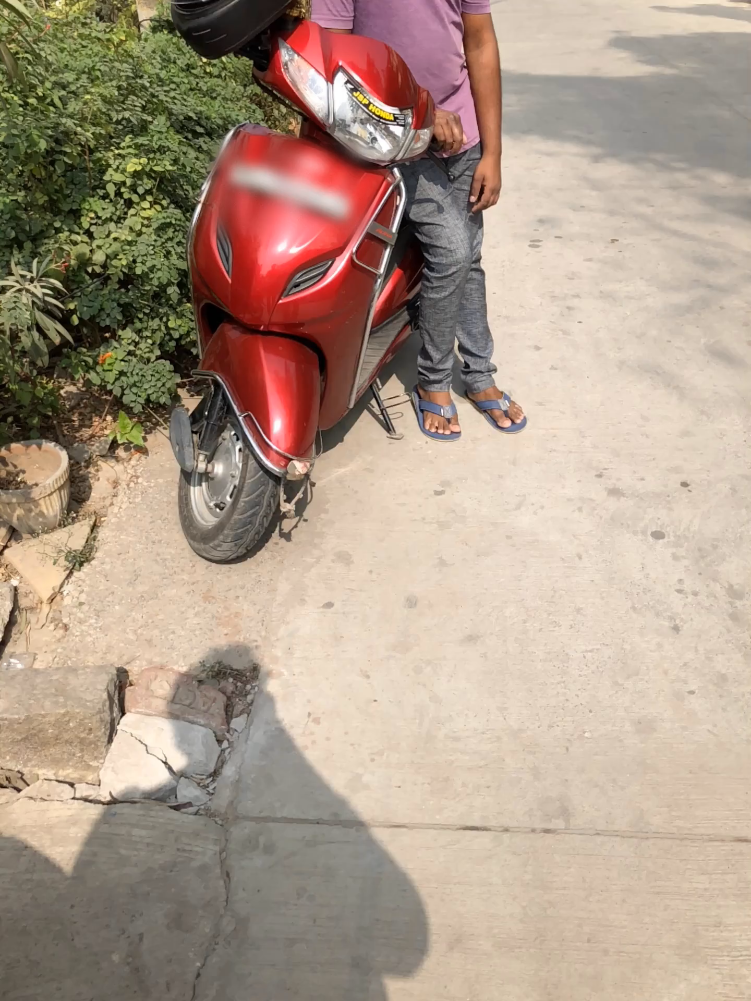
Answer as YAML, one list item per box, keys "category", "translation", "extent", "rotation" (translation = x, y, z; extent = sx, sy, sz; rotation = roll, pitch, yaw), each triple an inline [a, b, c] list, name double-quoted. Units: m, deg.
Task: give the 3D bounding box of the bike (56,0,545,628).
- category: "bike"
  translation: [0.005, -0.682, 2.212]
  extent: [0.621, 1.157, 1.594]
  rotation: [8, 39, 12]
